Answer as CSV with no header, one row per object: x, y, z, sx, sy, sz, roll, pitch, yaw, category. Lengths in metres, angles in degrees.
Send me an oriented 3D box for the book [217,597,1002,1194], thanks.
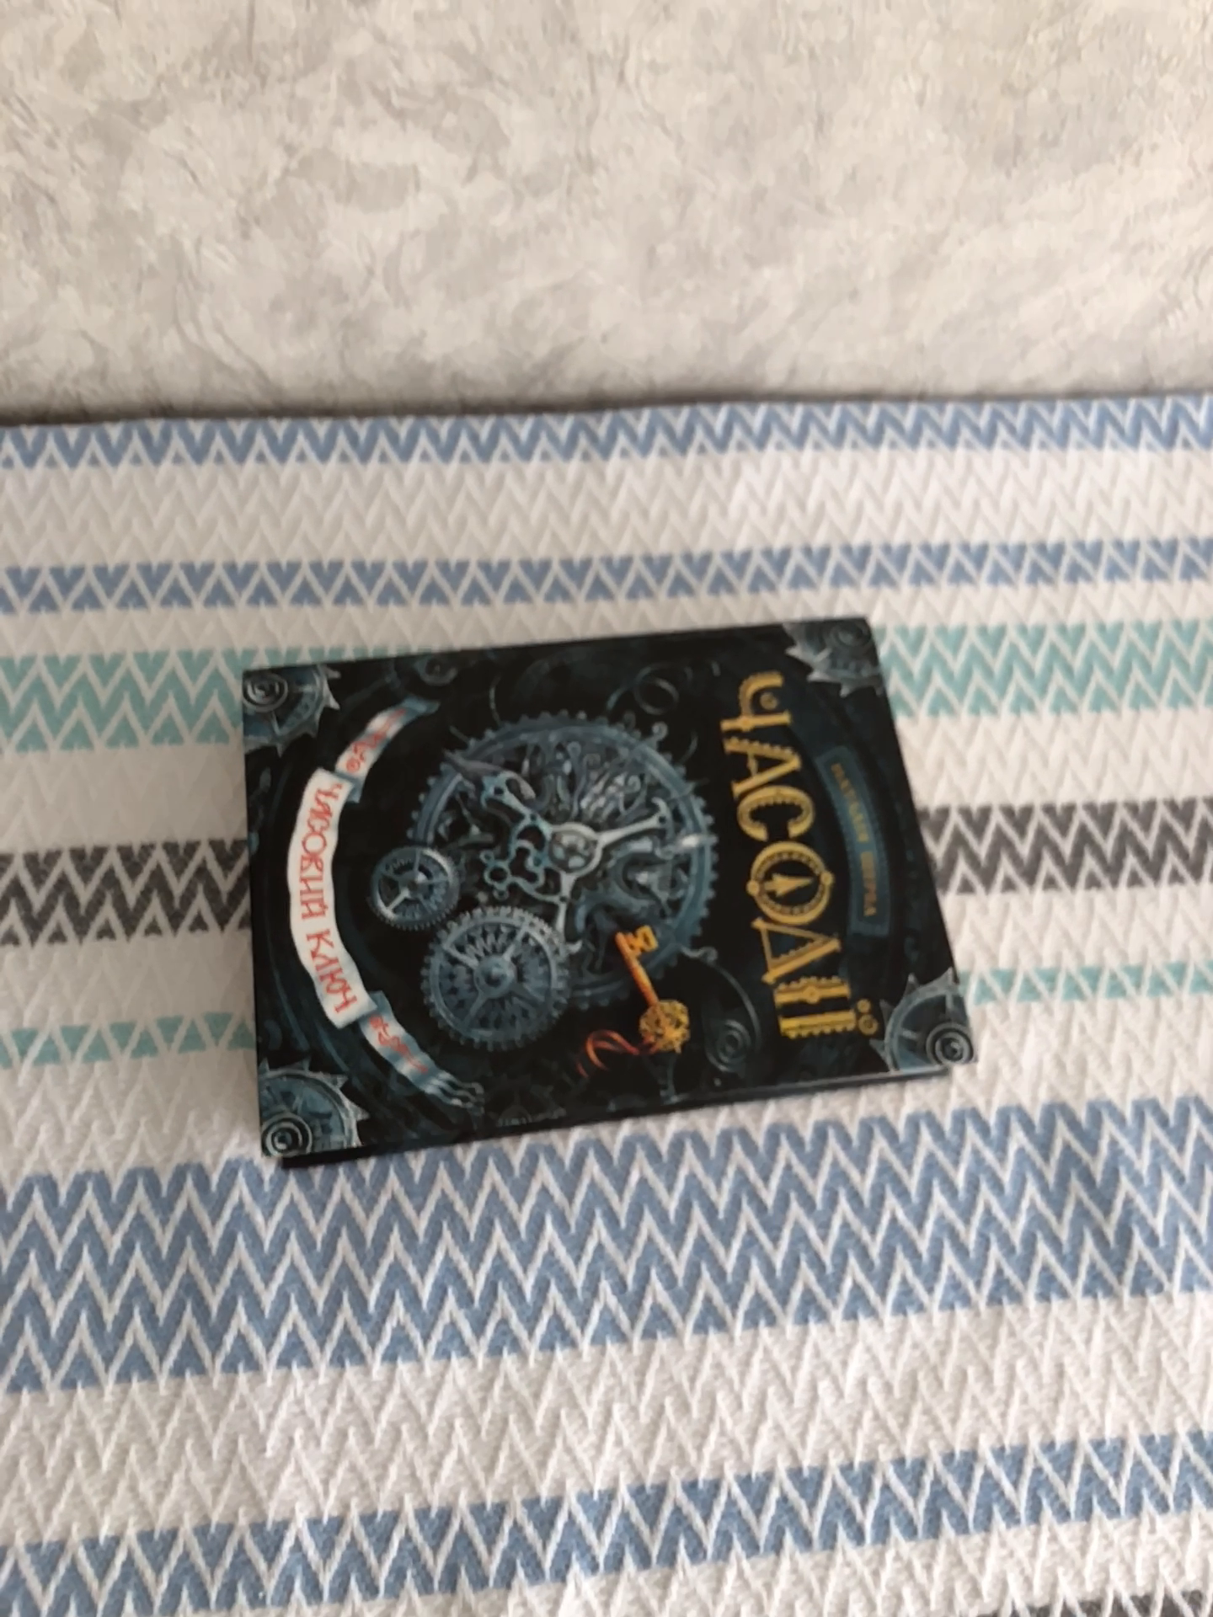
-0.006,0.022,0.461,0.238,0.032,0.178,-6,68,-7,book
